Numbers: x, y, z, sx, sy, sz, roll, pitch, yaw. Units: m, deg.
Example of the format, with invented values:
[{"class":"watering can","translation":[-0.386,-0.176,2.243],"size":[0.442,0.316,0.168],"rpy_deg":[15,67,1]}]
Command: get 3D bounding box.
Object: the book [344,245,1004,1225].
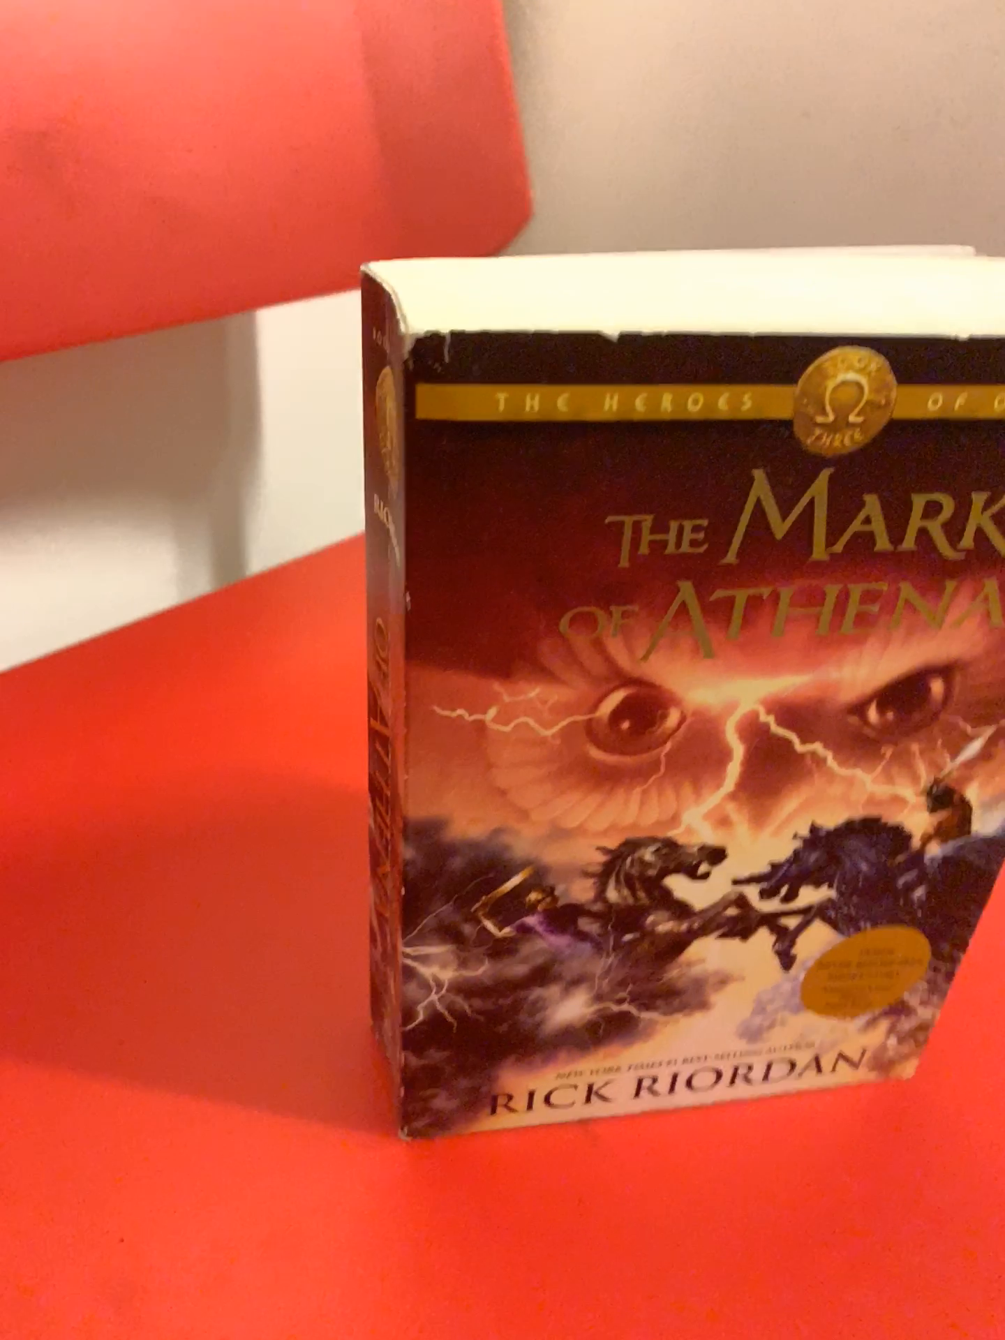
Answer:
[{"class":"book","translation":[0.043,0.019,0.224],"size":[0.139,0.193,0.061],"rpy_deg":[-7,36,-16]}]
